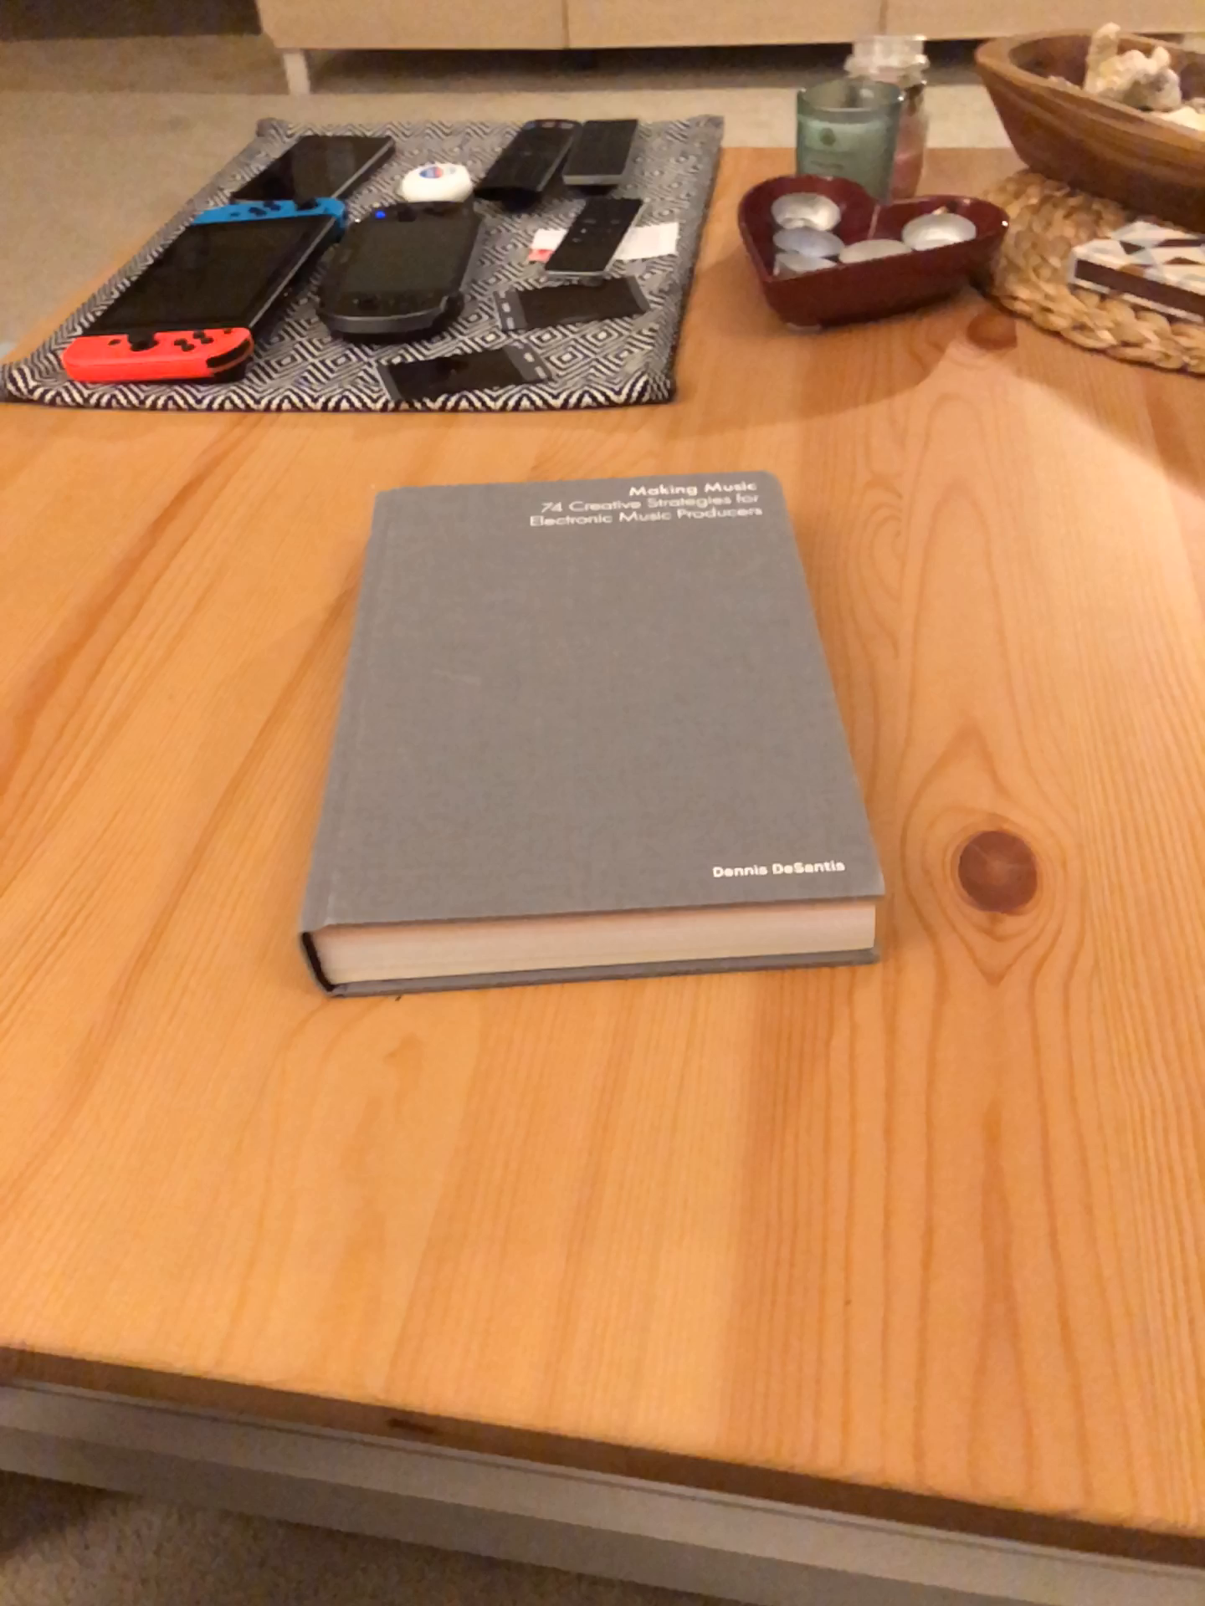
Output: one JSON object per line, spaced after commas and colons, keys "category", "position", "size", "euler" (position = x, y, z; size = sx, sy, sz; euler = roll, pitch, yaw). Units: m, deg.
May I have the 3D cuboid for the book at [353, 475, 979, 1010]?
{"category": "book", "position": [0.015, -0.035, 0.447], "size": [0.166, 0.030, 0.229], "euler": [-3, 43, 1]}
